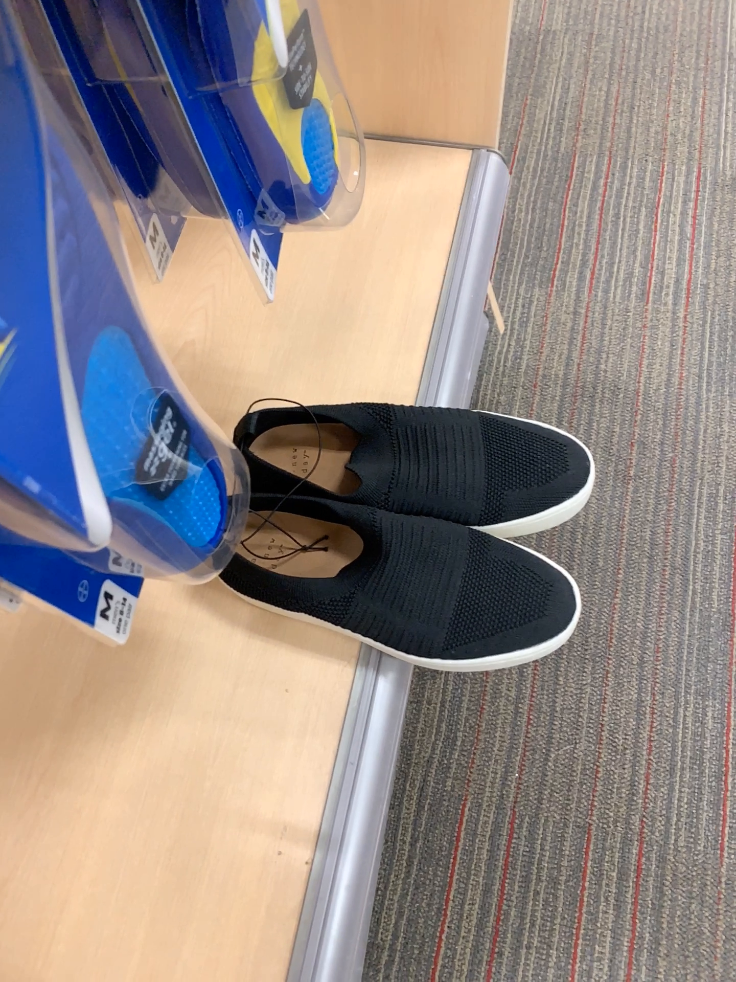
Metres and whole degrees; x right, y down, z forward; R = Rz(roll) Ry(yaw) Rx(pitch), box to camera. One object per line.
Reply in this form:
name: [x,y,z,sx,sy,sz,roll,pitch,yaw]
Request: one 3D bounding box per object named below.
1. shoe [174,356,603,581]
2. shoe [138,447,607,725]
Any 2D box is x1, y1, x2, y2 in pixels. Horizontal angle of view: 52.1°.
shoe: [0.018,-0.014,0.539,0.270,0.100,0.100,6,68,8]
shoe: [0.005,0.064,0.505,0.270,0.100,0.100,13,69,10]
